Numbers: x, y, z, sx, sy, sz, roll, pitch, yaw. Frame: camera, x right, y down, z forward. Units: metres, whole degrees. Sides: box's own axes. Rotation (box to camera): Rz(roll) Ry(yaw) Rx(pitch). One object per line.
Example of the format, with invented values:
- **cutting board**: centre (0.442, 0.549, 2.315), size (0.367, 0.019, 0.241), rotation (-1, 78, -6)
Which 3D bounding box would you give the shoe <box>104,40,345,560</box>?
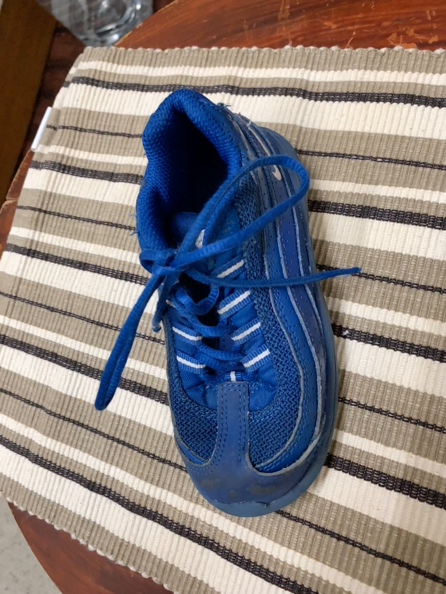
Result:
- **shoe**: centre (0.007, 0.001, 0.204), size (0.073, 0.080, 0.175), rotation (-4, 79, 23)
